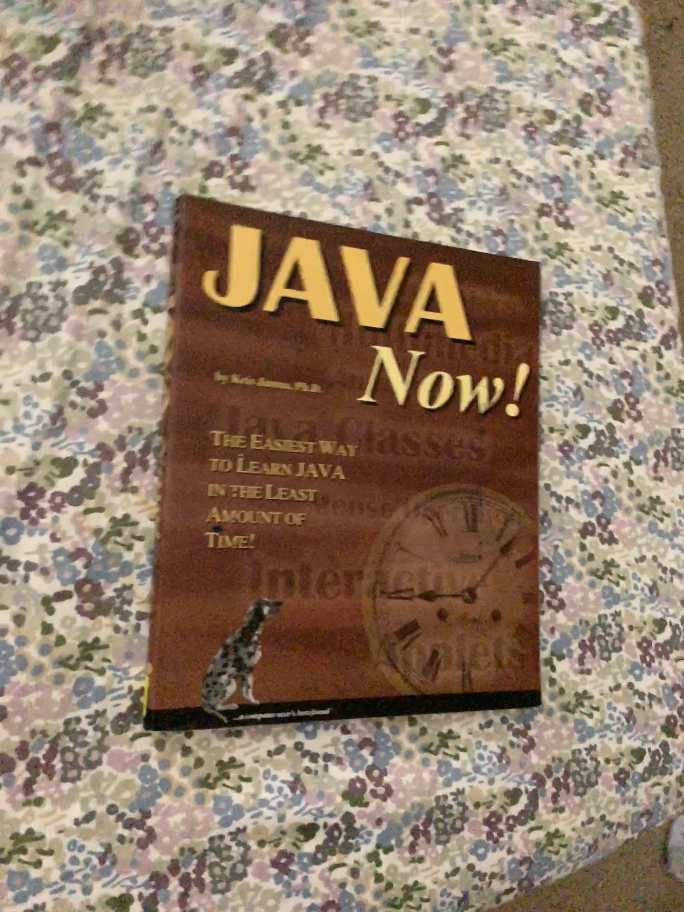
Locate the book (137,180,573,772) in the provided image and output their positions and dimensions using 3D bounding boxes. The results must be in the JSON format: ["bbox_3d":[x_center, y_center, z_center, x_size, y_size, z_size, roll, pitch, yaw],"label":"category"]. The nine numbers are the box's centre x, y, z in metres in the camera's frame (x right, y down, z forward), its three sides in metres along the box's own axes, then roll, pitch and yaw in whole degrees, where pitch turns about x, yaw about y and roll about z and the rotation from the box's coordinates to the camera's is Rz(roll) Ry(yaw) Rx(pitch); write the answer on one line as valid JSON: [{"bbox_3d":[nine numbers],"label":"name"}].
[{"bbox_3d":[0.019,0.012,0.361,0.220,0.030,0.260,4,84,-21],"label":"book"}]
